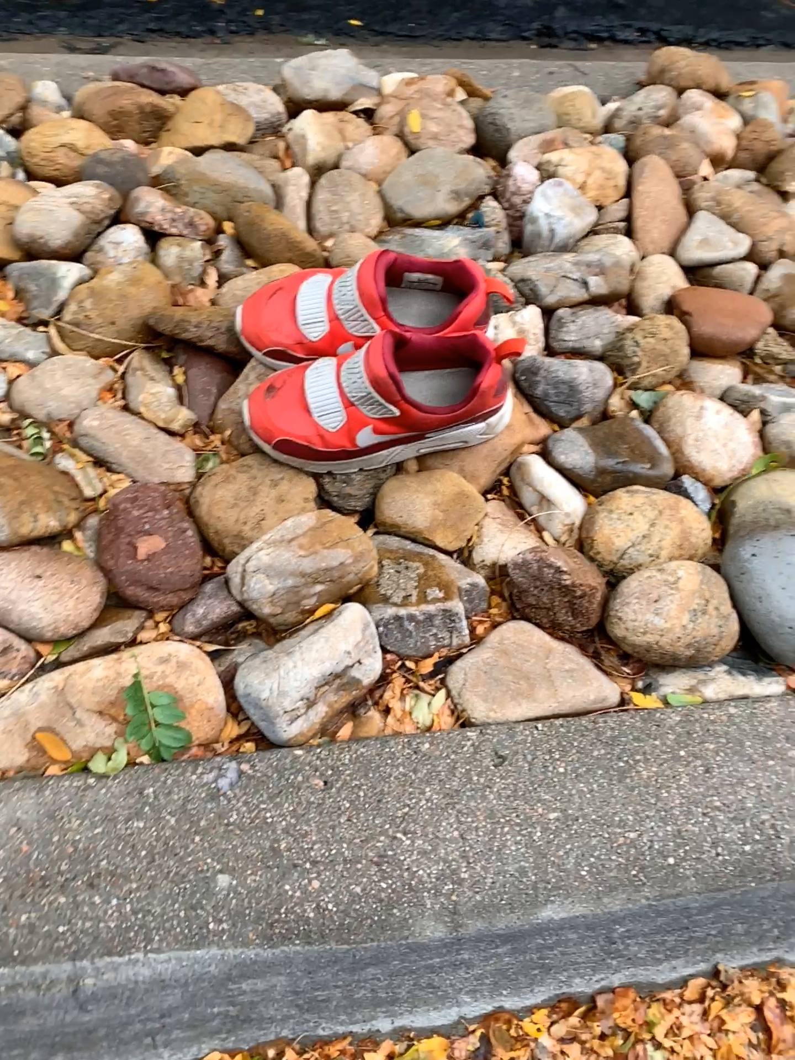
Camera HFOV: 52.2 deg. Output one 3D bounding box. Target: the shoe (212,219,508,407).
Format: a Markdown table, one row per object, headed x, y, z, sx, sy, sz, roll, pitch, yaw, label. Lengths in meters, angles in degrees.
| x | y | z | sx | sy | sz | roll | pitch | yaw | label |
| --- | --- | --- | --- | --- | --- | --- | --- | --- | --- |
| -0.023 | -0.163 | 0.629 | 0.210 | 0.100 | 0.080 | -3 | 68 | 6 | shoe |

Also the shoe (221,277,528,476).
| x | y | z | sx | sy | sz | roll | pitch | yaw | label |
| --- | --- | --- | --- | --- | --- | --- | --- | --- | --- |
| -0.013 | -0.110 | 0.617 | 0.210 | 0.100 | 0.080 | -6 | 68 | 12 | shoe |
